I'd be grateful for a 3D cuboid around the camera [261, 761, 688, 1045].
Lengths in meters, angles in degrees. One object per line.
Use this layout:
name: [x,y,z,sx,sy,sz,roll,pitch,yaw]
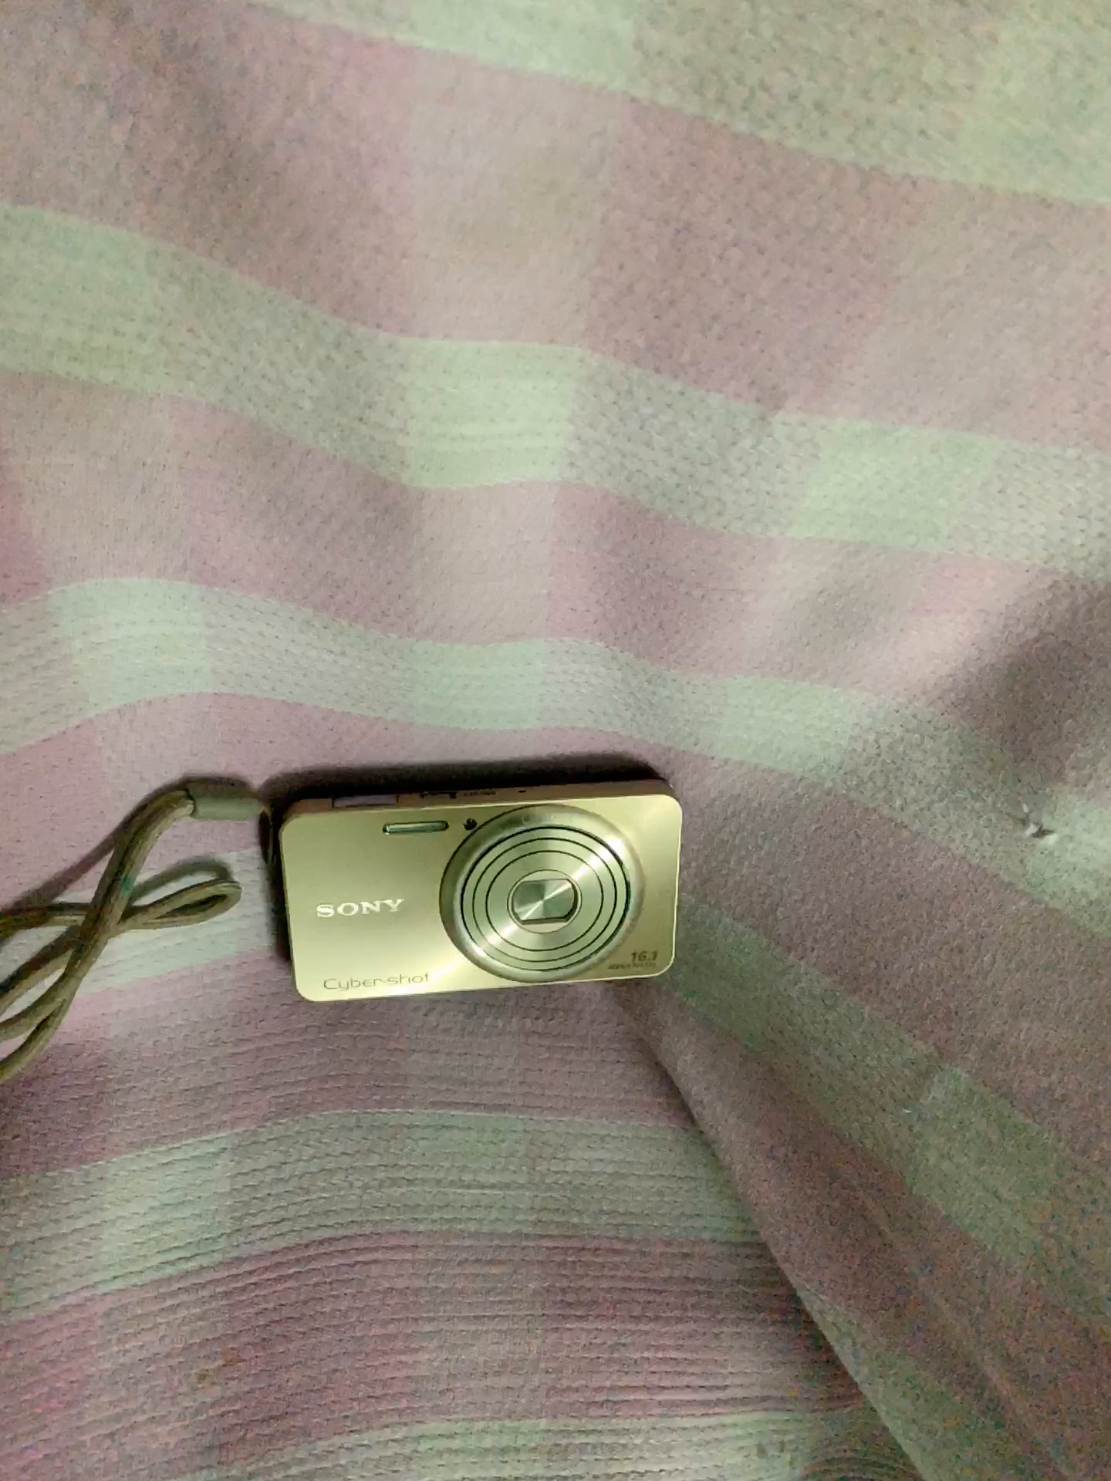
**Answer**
camera: [-0.018,0.037,0.268,0.091,0.027,0.053,-3,113,-6]
